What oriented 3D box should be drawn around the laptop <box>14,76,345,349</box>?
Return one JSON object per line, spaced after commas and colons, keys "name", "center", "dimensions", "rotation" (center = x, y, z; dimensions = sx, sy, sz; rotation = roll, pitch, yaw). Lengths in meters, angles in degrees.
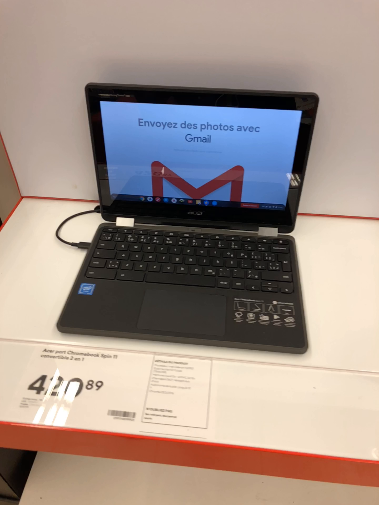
{"name": "laptop", "center": [-0.002, -0.060, 0.516], "dimensions": [0.289, 0.198, 0.253], "rotation": [4, 45, 4]}
